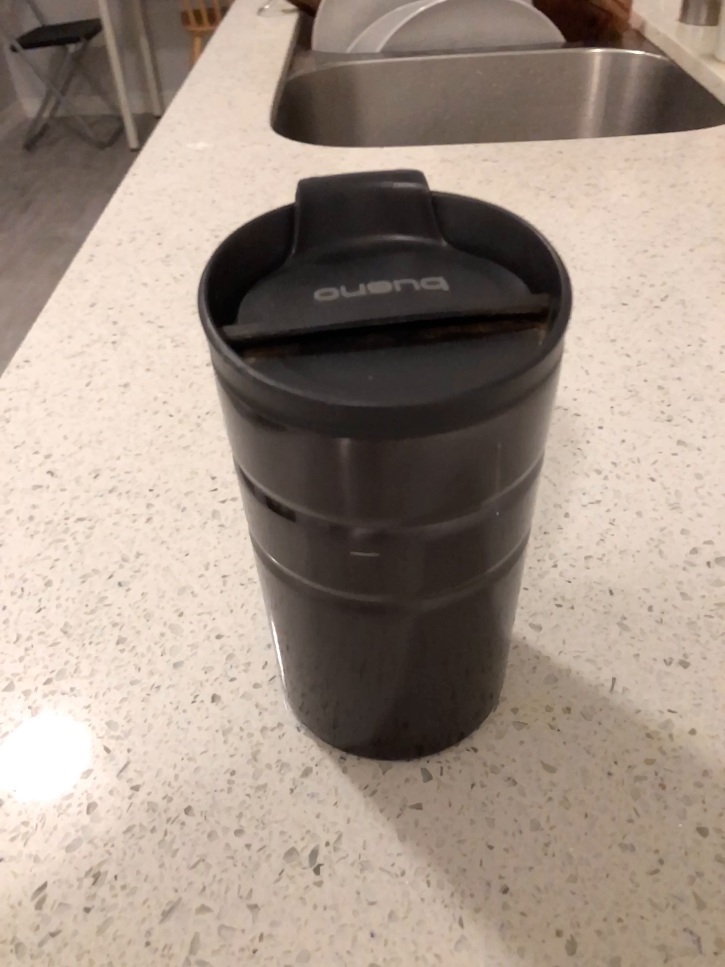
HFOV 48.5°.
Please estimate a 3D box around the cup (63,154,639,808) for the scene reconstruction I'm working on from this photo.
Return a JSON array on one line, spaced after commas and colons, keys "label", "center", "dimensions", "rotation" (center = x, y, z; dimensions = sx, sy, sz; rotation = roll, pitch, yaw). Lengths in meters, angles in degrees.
[{"label": "cup", "center": [0.005, -0.003, 0.197], "dimensions": [0.086, 0.116, 0.085], "rotation": [-2, 40, 2]}]
